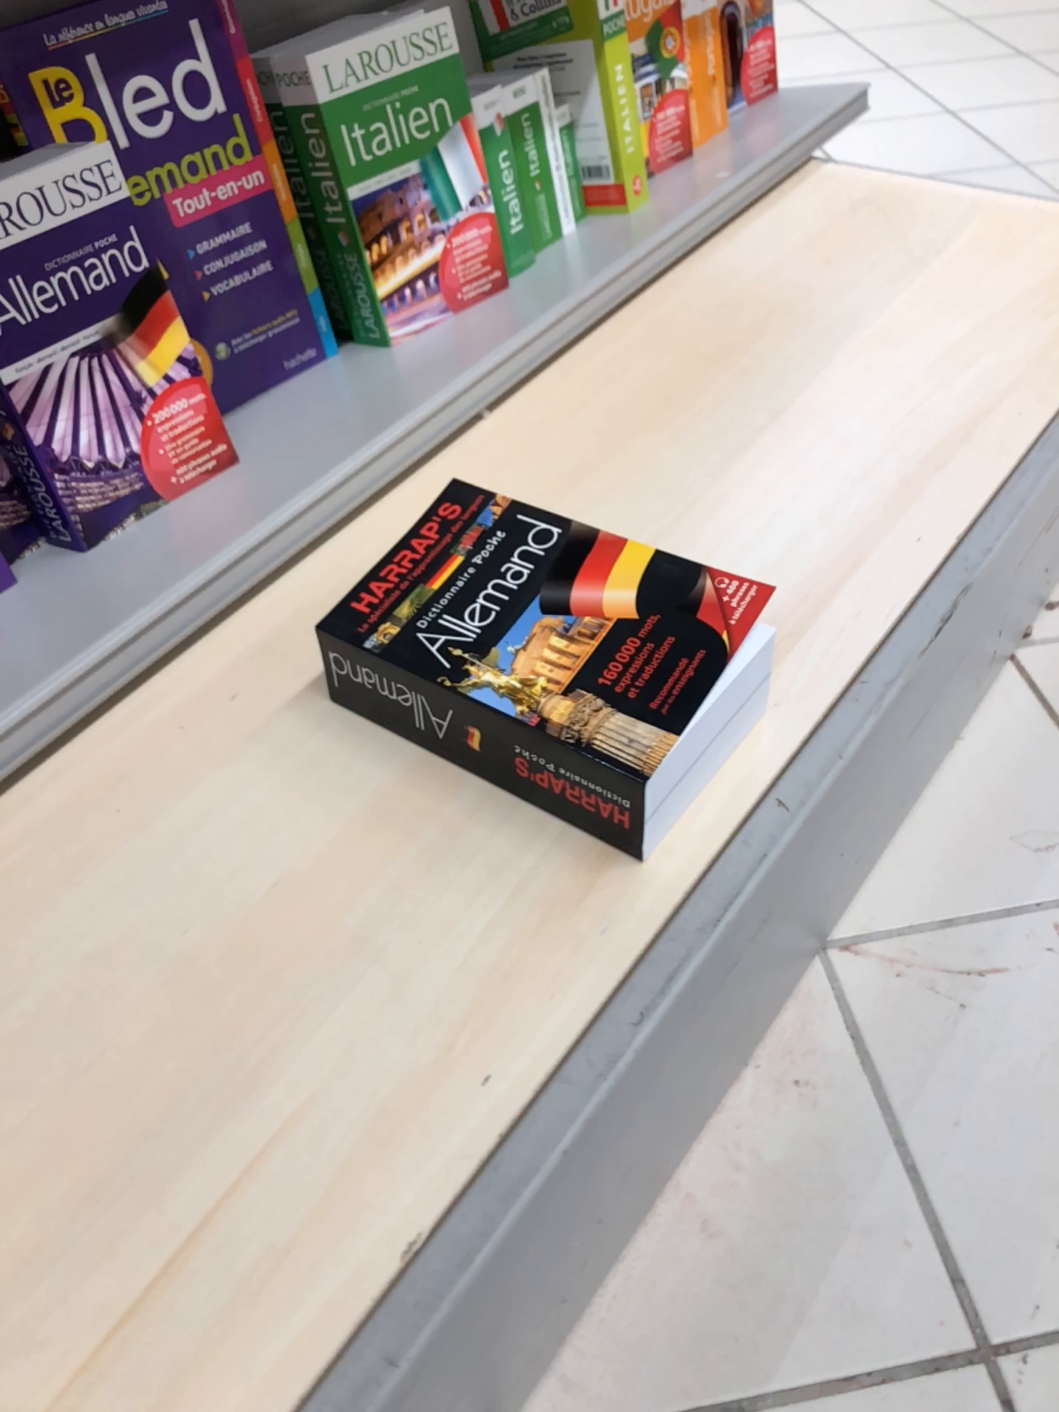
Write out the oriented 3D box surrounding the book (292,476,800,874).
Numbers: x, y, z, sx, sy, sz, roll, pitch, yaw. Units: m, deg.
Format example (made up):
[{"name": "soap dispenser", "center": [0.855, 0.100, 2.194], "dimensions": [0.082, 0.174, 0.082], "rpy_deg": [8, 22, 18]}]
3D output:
[{"name": "book", "center": [0.008, -0.023, 0.520], "dimensions": [0.180, 0.060, 0.123], "rpy_deg": [24, 50, 26]}]
